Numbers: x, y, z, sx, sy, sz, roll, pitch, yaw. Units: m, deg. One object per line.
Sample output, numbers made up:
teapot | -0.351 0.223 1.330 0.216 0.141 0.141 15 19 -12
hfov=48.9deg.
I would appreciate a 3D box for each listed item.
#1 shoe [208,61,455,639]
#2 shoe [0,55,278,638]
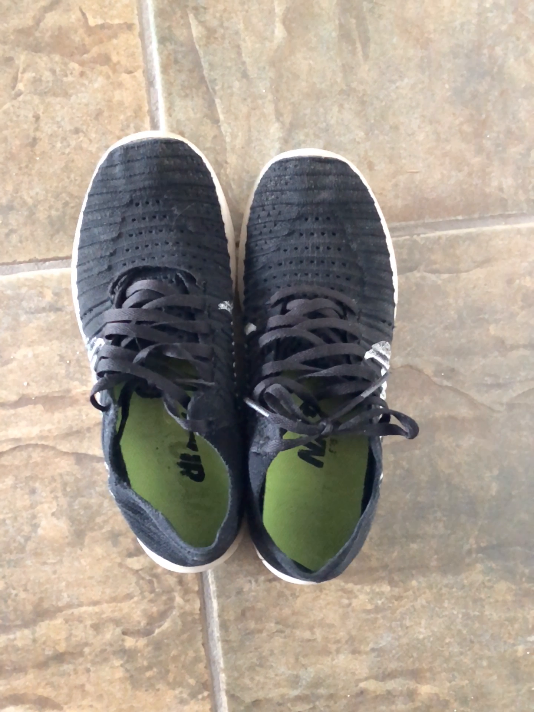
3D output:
shoe | 0.028 -0.002 0.316 0.110 0.100 0.260 1 88 -3
shoe | -0.065 -0.006 0.321 0.110 0.100 0.260 -6 89 -3
